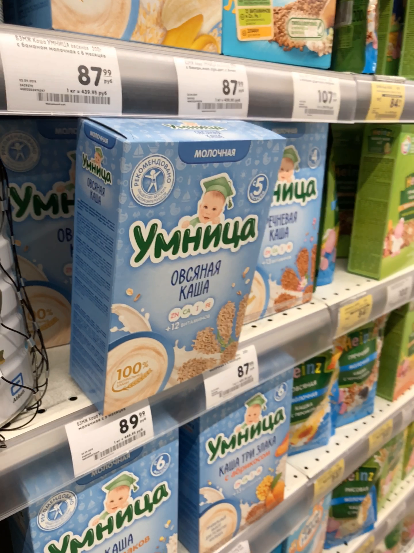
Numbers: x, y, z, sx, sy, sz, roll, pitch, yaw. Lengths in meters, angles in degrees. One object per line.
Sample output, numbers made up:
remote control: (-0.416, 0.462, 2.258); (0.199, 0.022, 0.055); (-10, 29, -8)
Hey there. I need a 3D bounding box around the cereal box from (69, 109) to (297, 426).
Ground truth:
cereal box: (-0.023, -0.010, 0.353); (0.140, 0.209, 0.060); (-14, 35, -39)
